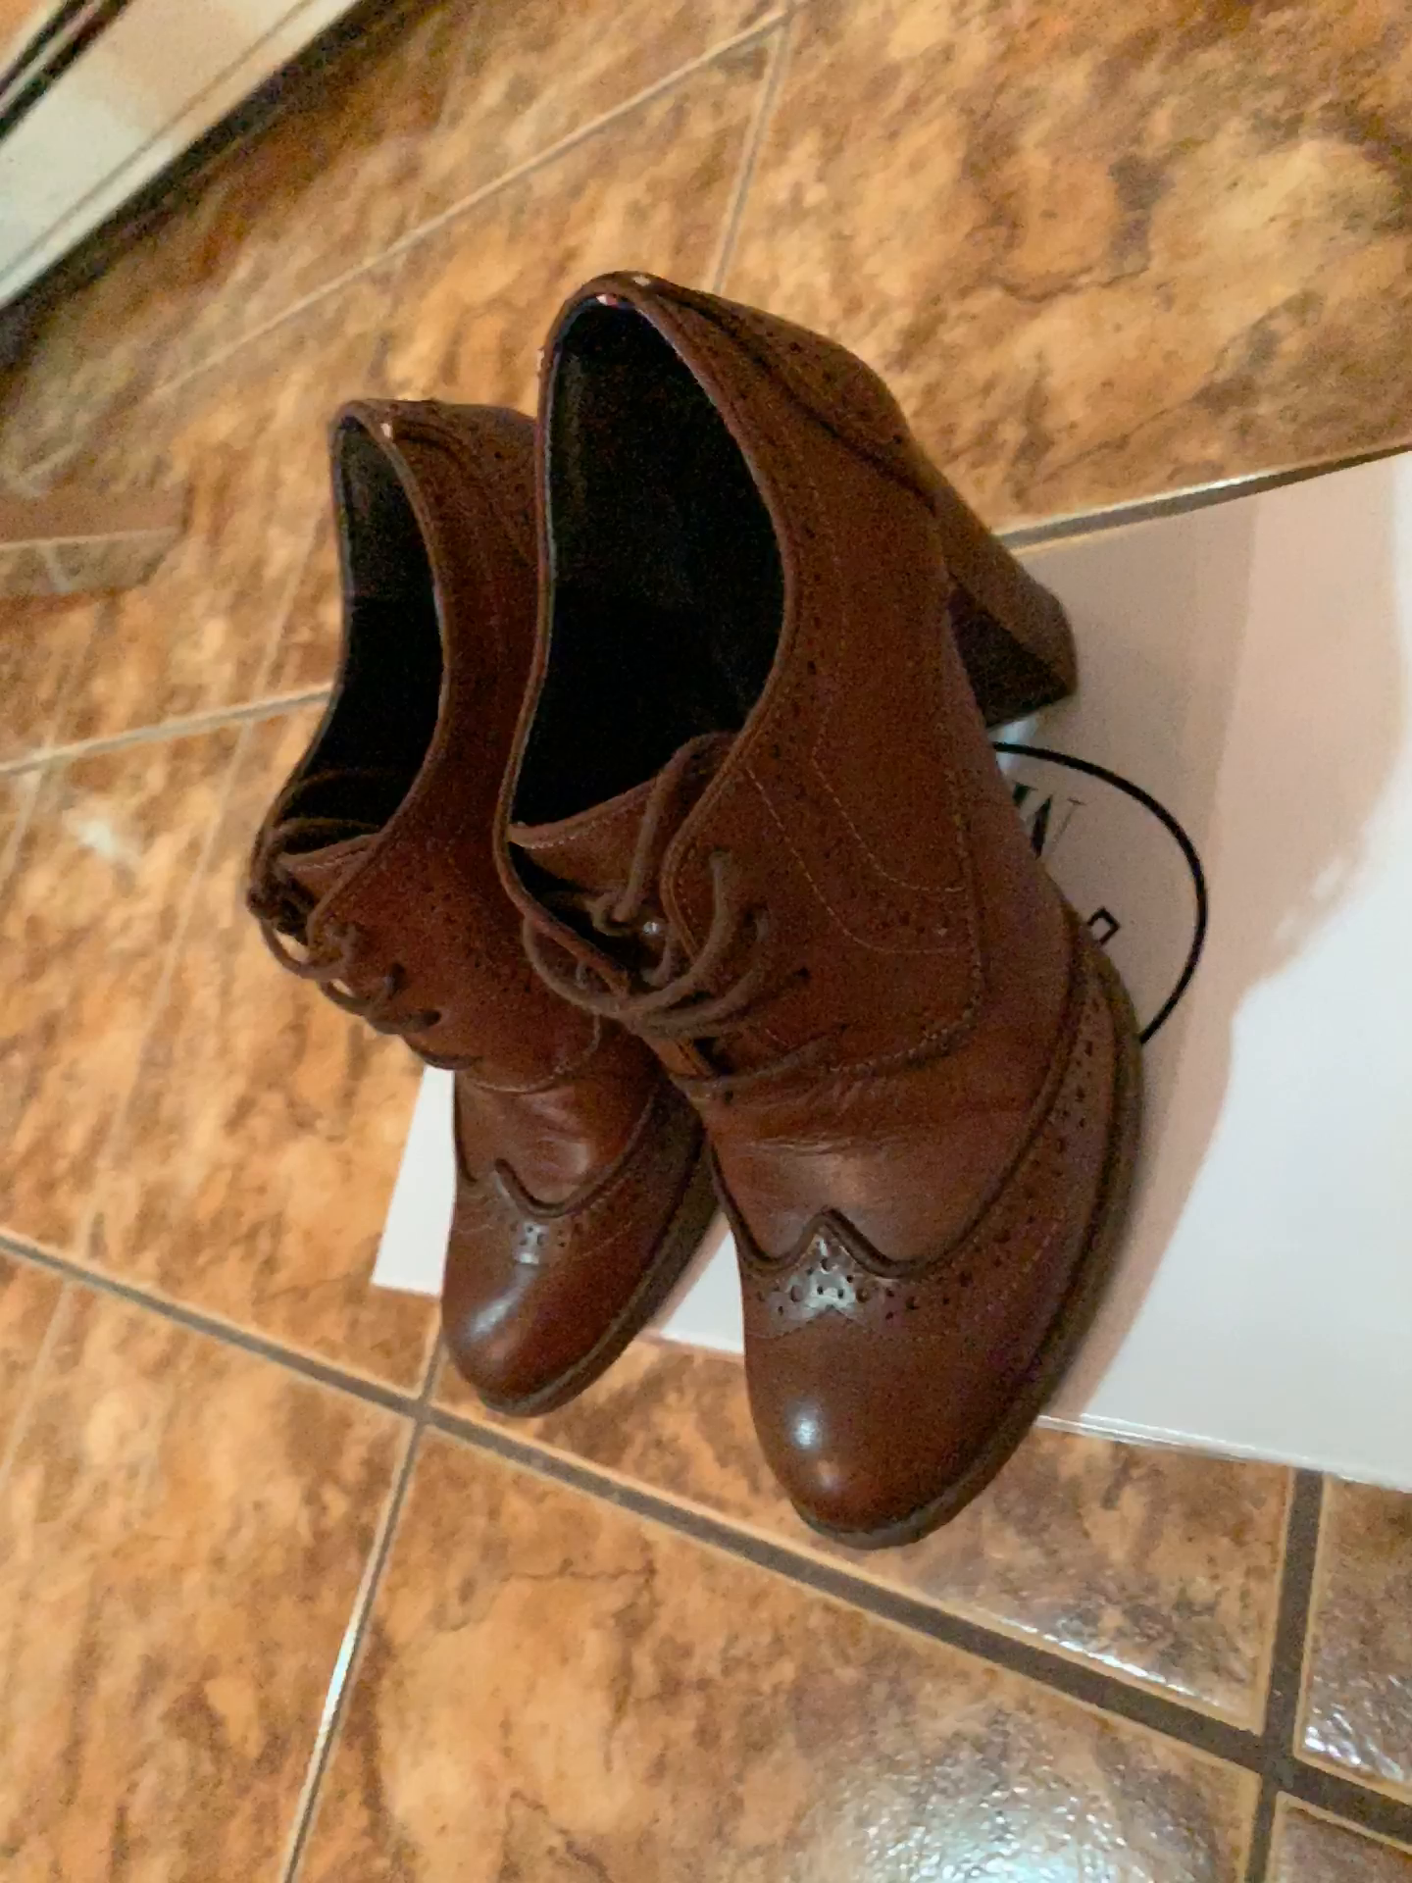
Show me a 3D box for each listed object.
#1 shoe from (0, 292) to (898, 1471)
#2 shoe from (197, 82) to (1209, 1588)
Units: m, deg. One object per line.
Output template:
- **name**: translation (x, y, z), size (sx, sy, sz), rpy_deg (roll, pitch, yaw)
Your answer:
- **shoe**: translation (-0.056, -0.006, 0.358), size (0.096, 0.136, 0.228), rpy_deg (1, 71, 46)
- **shoe**: translation (0.016, -0.009, 0.284), size (0.096, 0.136, 0.228), rpy_deg (-9, 64, 43)
